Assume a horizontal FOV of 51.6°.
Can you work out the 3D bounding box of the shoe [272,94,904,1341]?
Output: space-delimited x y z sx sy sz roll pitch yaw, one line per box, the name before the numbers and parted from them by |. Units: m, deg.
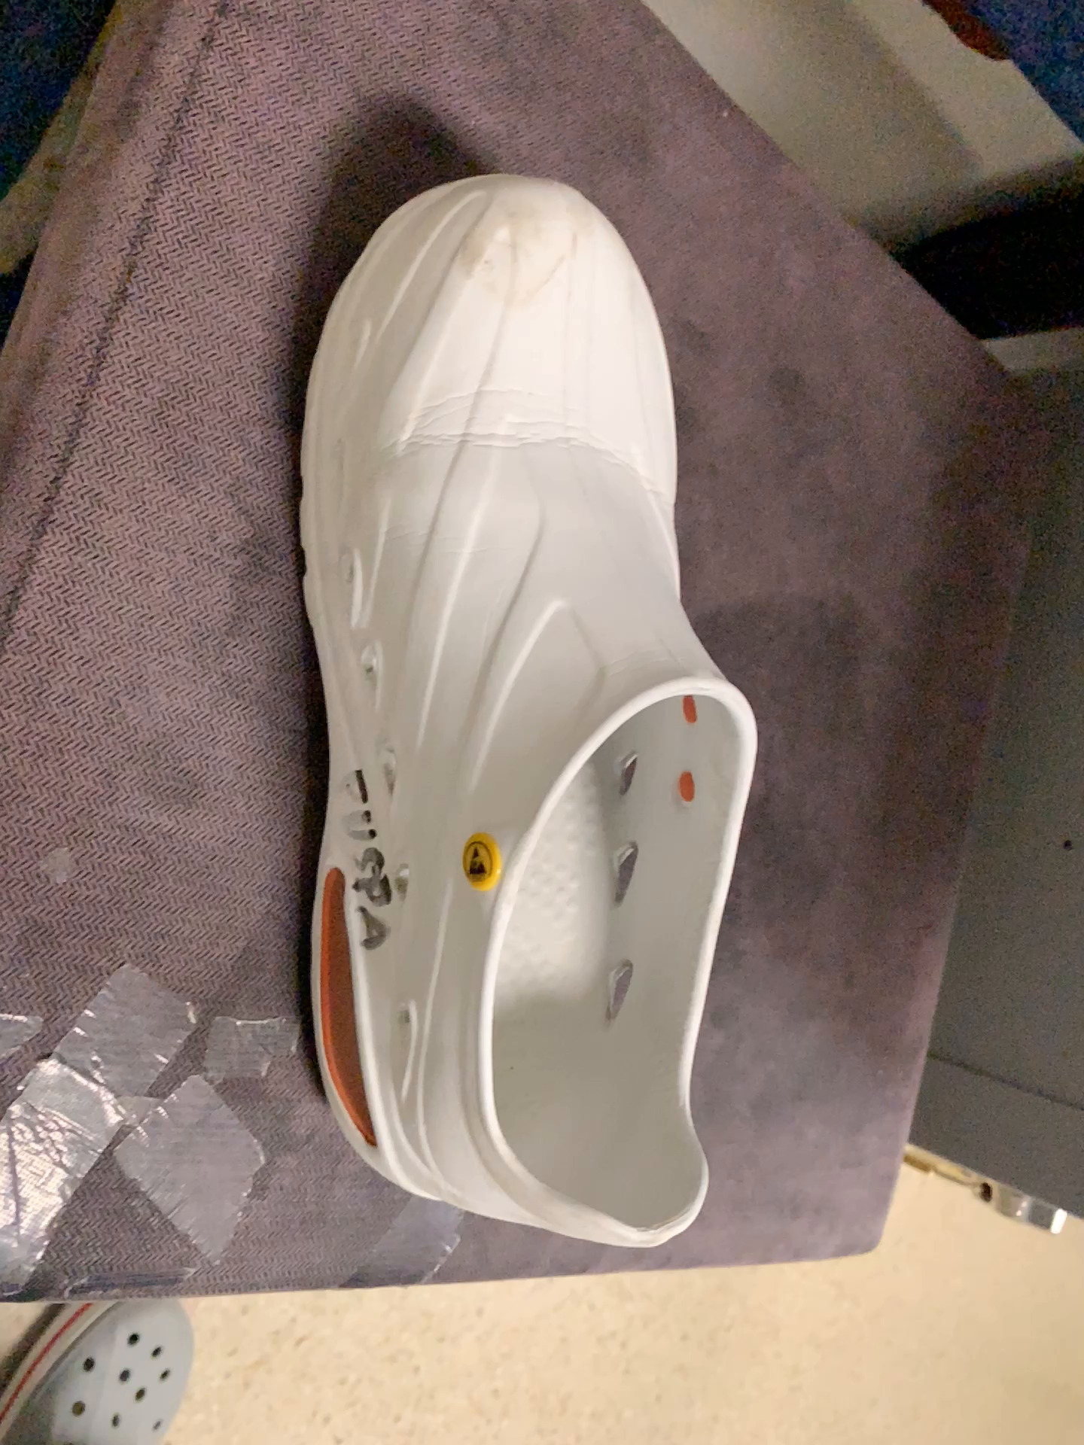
shoe | 0.007 -0.001 0.255 0.092 0.093 0.213 0 95 -40
